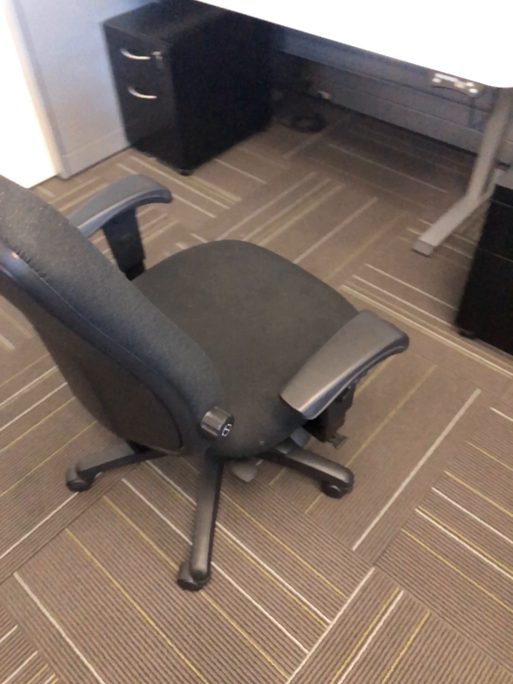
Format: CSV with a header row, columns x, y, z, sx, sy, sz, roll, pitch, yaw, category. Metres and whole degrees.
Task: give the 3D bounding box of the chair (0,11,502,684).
x,y,z,sx,sy,sz,roll,pitch,yaw,category
-0.139,0.018,1.169,0.742,0.956,0.681,33,57,28,chair
